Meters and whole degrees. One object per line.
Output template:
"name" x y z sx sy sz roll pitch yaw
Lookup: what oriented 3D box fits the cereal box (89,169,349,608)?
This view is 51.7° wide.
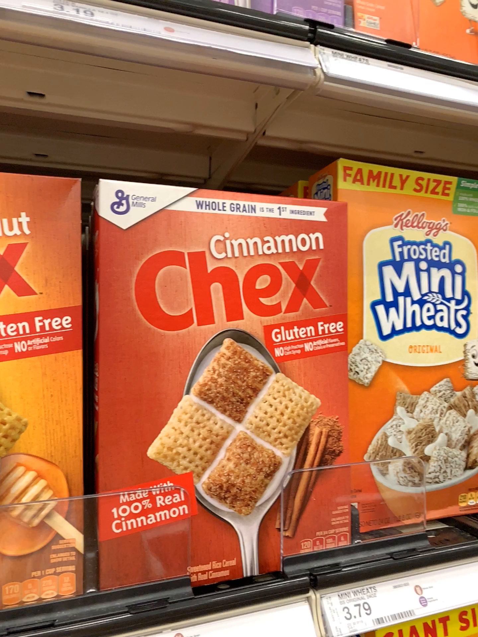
"cereal box" -0.015 0.046 0.400 0.200 0.300 0.060 0 -2 -20

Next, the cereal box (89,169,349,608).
"cereal box" -0.015 0.046 0.400 0.200 0.300 0.060 0 -2 -20
